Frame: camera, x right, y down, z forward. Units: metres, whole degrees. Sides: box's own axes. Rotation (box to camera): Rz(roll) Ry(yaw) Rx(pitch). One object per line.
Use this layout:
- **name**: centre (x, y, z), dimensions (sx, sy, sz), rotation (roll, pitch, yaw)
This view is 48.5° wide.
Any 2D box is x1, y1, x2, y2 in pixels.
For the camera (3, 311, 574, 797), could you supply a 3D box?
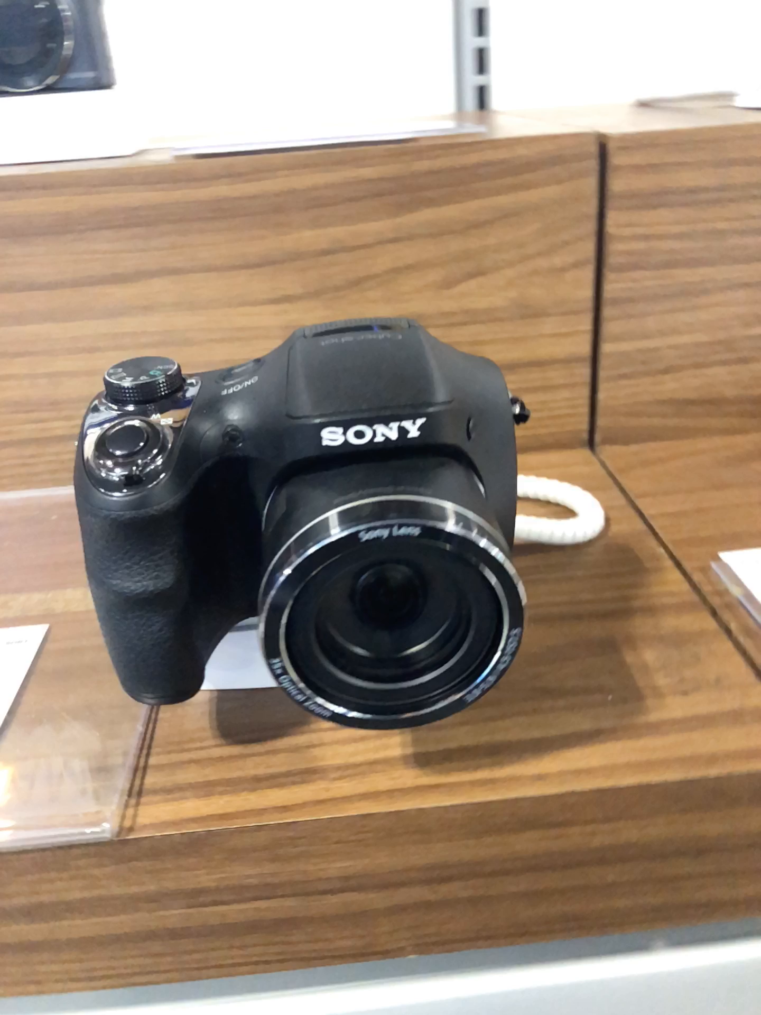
- **camera**: centre (-0.020, 0.005, 0.237), dimensions (0.120, 0.092, 0.091), rotation (-6, 24, -4)
